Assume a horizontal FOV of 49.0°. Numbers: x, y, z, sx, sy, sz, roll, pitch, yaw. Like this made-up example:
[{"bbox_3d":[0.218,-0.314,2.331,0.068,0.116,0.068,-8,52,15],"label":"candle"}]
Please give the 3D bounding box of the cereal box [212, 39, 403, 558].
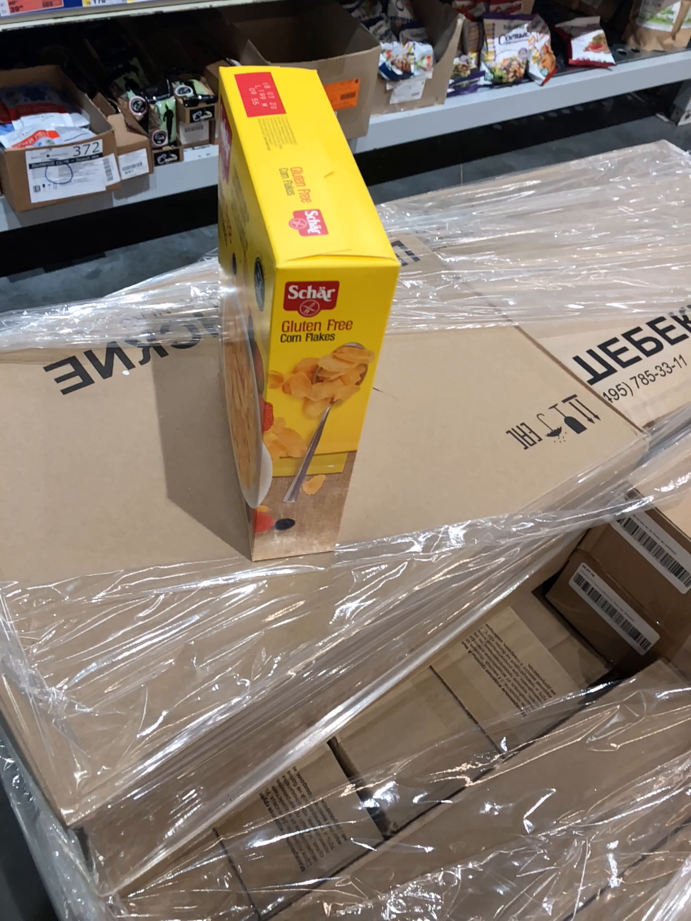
[{"bbox_3d":[-0.043,-0.092,0.484,0.060,0.248,0.201,-5,53,-14],"label":"cereal box"}]
